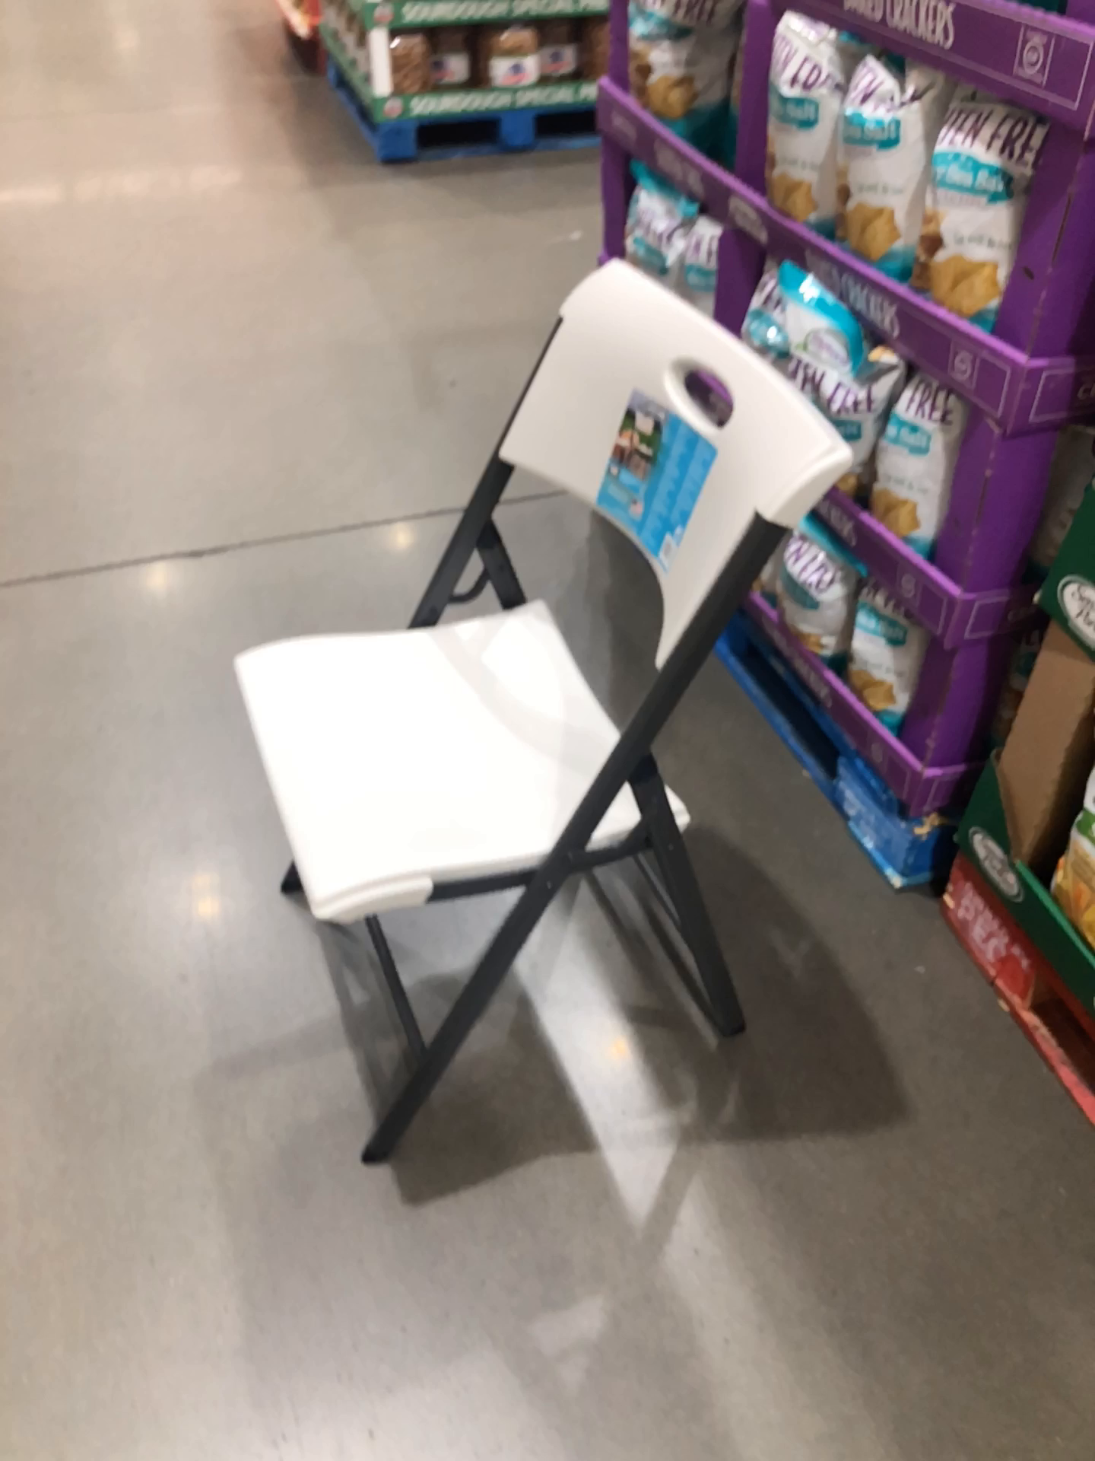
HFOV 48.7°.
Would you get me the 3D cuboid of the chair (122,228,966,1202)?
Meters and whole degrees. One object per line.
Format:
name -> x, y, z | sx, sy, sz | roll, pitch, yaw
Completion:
chair -> -0.043, -0.023, 1.334 | 0.595, 0.790, 0.547 | -14, 43, -16
